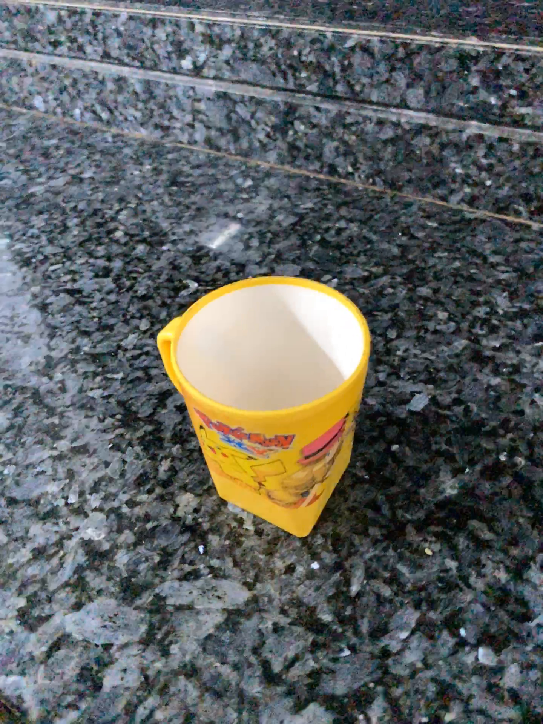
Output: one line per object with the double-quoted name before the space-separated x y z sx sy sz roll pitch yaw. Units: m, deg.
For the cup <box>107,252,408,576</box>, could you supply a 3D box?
"cup" -0.001 0.024 0.265 0.100 0.109 0.070 19 50 23
